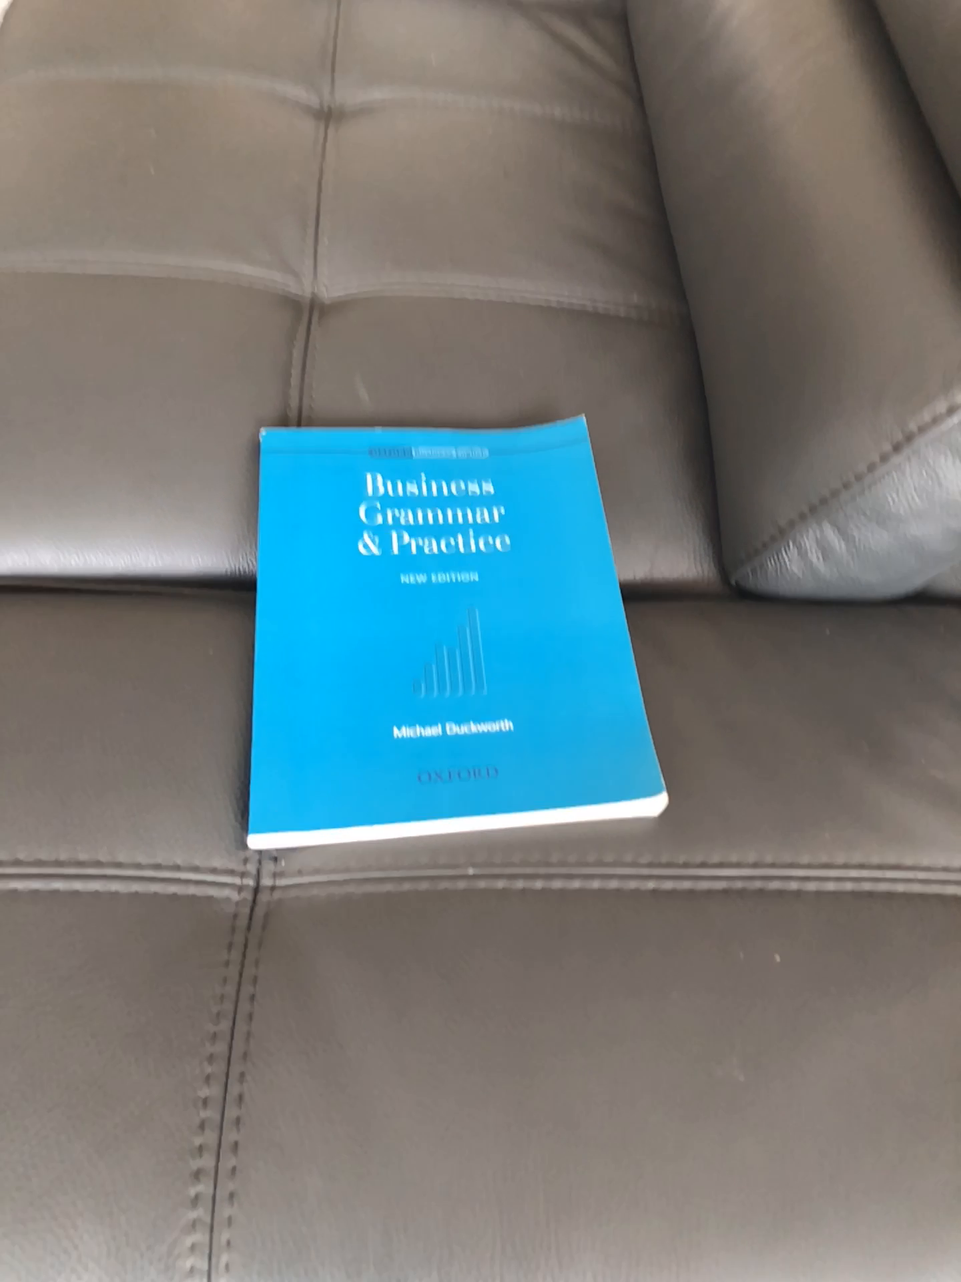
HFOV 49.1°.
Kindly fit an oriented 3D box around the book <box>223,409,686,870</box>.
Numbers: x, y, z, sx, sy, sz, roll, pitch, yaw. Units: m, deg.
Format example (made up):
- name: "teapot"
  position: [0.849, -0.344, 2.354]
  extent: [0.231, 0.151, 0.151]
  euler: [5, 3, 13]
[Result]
- name: "book"
  position: [-0.025, -0.017, 0.603]
  extent: [0.230, 0.020, 0.281]
  euler: [-4, 58, -5]
